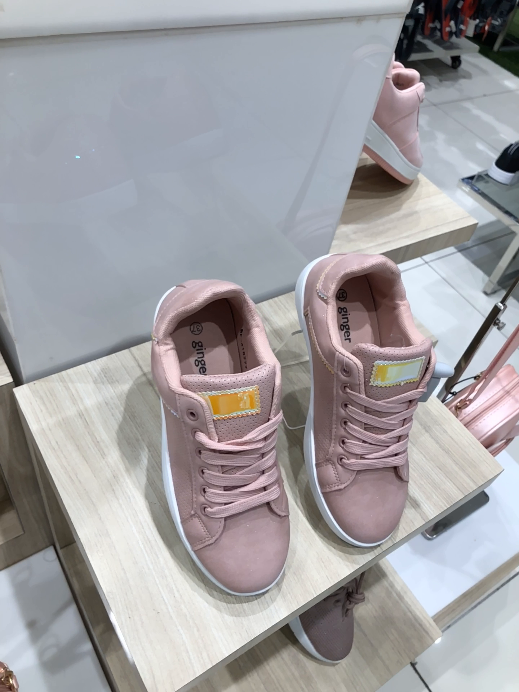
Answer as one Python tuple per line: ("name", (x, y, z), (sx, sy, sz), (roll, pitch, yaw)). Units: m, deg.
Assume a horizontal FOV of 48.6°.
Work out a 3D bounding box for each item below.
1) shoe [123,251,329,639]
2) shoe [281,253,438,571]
("shoe", (-0.031, 0.067, 0.459), (0.100, 0.100, 0.260), (-10, 92, -19))
("shoe", (0.085, 0.048, 0.508), (0.100, 0.250, 0.100), (-4, 7, -15))
